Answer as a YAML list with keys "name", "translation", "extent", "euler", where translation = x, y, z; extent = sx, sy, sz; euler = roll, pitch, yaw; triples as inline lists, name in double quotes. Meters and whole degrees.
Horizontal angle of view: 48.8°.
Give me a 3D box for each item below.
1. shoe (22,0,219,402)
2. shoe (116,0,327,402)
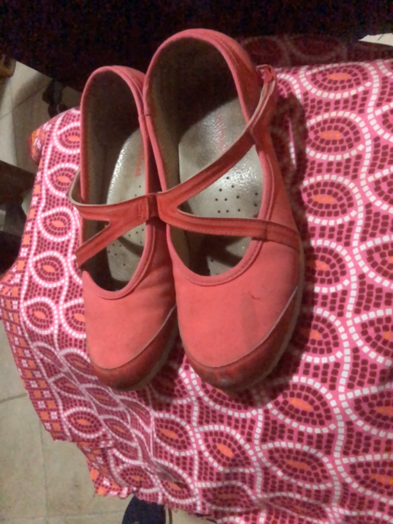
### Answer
- name: "shoe"
  translation: [-0.062, -0.041, 0.363]
  extent: [0.110, 0.100, 0.290]
  euler: [-10, 76, 30]
- name: "shoe"
  translation: [0.015, -0.053, 0.341]
  extent: [0.110, 0.100, 0.300]
  euler: [-11, 75, 30]
